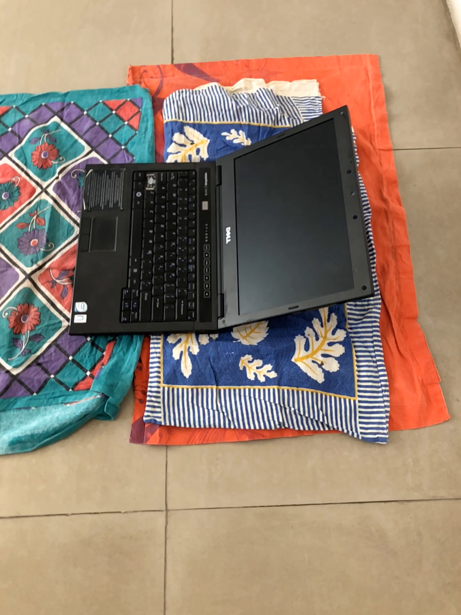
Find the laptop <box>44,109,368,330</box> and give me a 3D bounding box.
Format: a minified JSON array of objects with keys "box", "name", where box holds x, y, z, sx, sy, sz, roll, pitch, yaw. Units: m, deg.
[{"box":[-0.033,-0.135,0.773,0.419,0.125,0.306,-1,68,-2],"name":"laptop"}]
